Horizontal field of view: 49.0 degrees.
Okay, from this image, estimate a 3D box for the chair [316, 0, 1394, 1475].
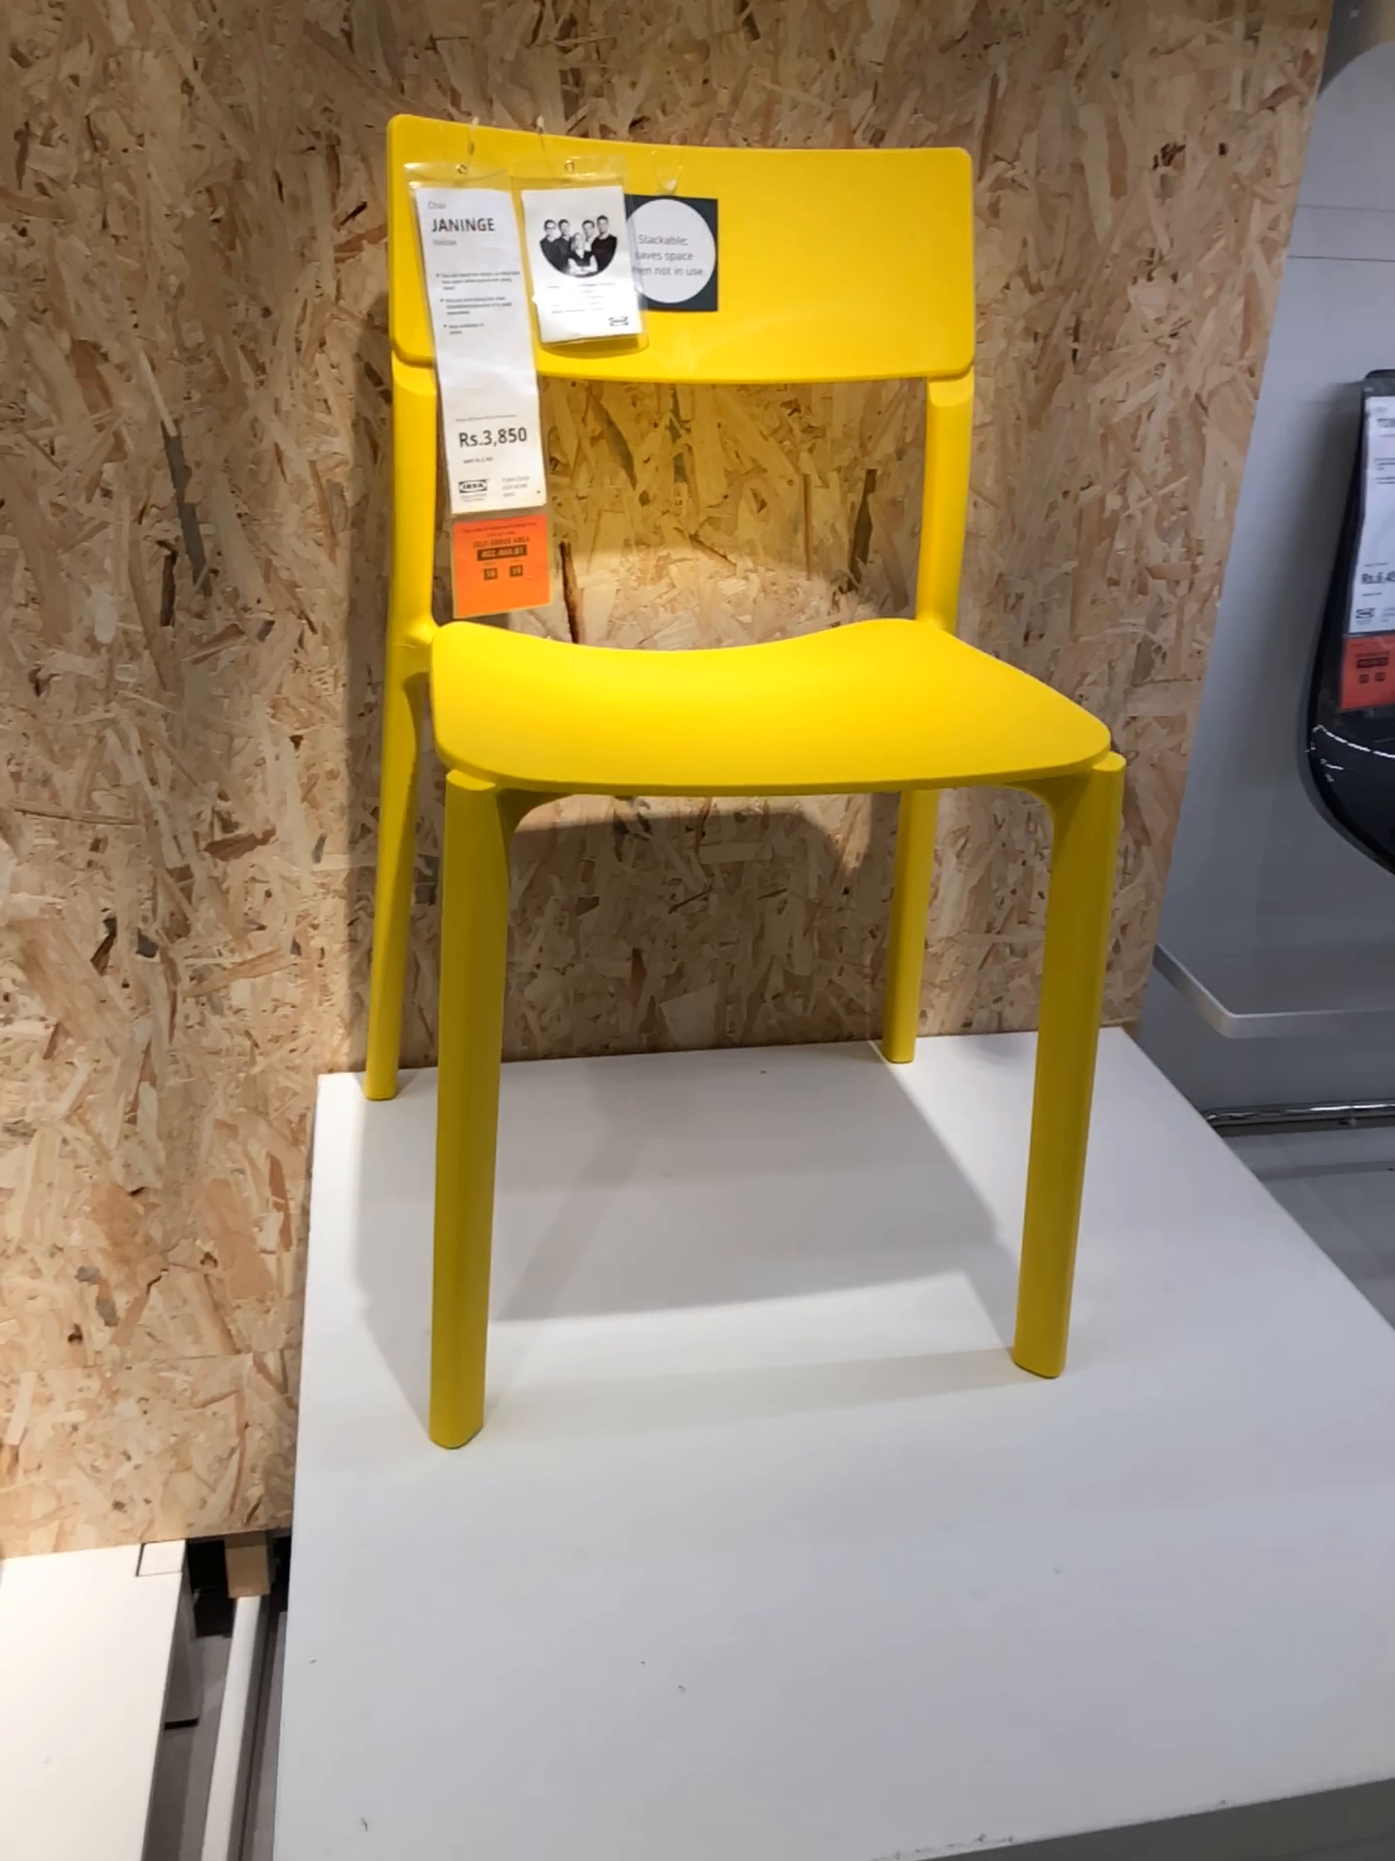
[{"bbox_3d":[0.026,-0.129,0.924,0.460,0.676,0.463,-3,26,-13],"label":"chair"}]
